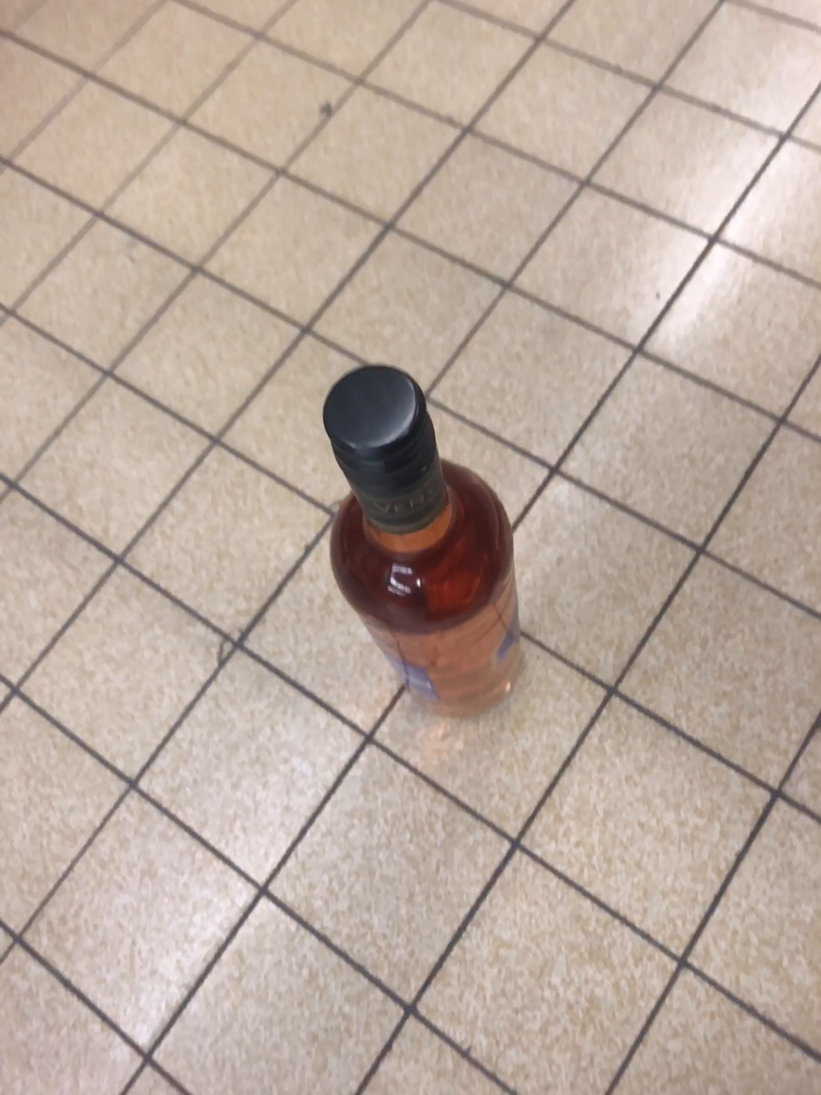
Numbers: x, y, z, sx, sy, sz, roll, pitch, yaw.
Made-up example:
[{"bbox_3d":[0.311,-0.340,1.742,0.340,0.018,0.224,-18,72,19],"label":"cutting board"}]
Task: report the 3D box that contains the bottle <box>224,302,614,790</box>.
[{"bbox_3d":[0.019,0.032,0.389,0.080,0.299,0.080,-3,69,7],"label":"bottle"}]
